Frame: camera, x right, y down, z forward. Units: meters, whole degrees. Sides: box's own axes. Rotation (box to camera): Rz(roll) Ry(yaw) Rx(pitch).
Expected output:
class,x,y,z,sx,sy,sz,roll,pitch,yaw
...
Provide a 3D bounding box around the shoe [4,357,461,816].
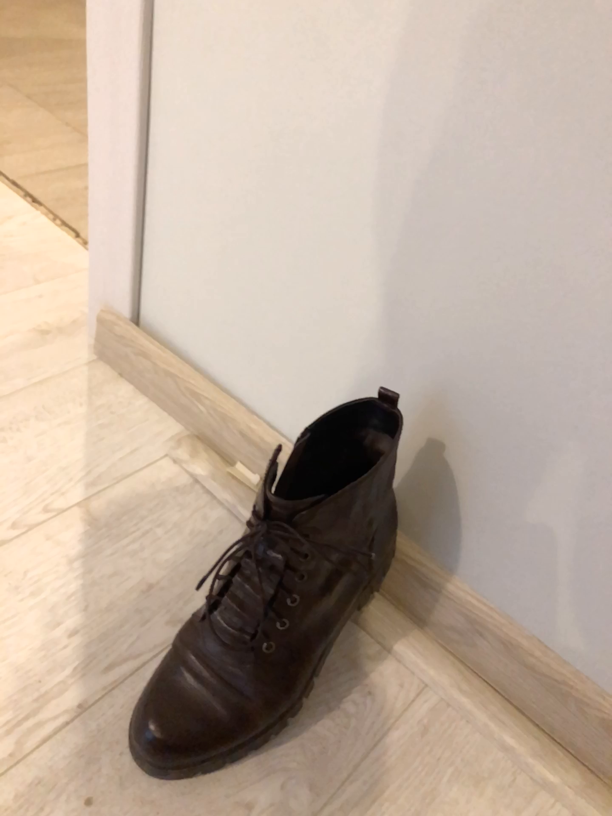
class,x,y,z,sx,sy,sz,roll,pitch,yaw
shoe,-0.025,0.126,0.448,0.100,0.179,0.261,34,63,25
